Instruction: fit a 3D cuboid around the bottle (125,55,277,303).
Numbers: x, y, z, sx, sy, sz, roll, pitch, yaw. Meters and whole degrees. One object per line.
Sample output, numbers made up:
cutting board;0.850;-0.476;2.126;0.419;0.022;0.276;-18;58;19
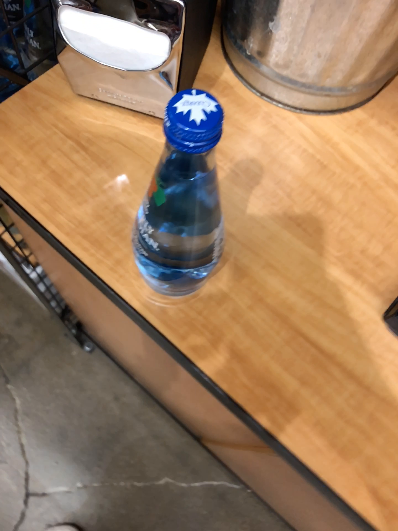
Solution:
bottle;-0.010;-0.035;0.285;0.060;0.190;0.060;2;68;-6
